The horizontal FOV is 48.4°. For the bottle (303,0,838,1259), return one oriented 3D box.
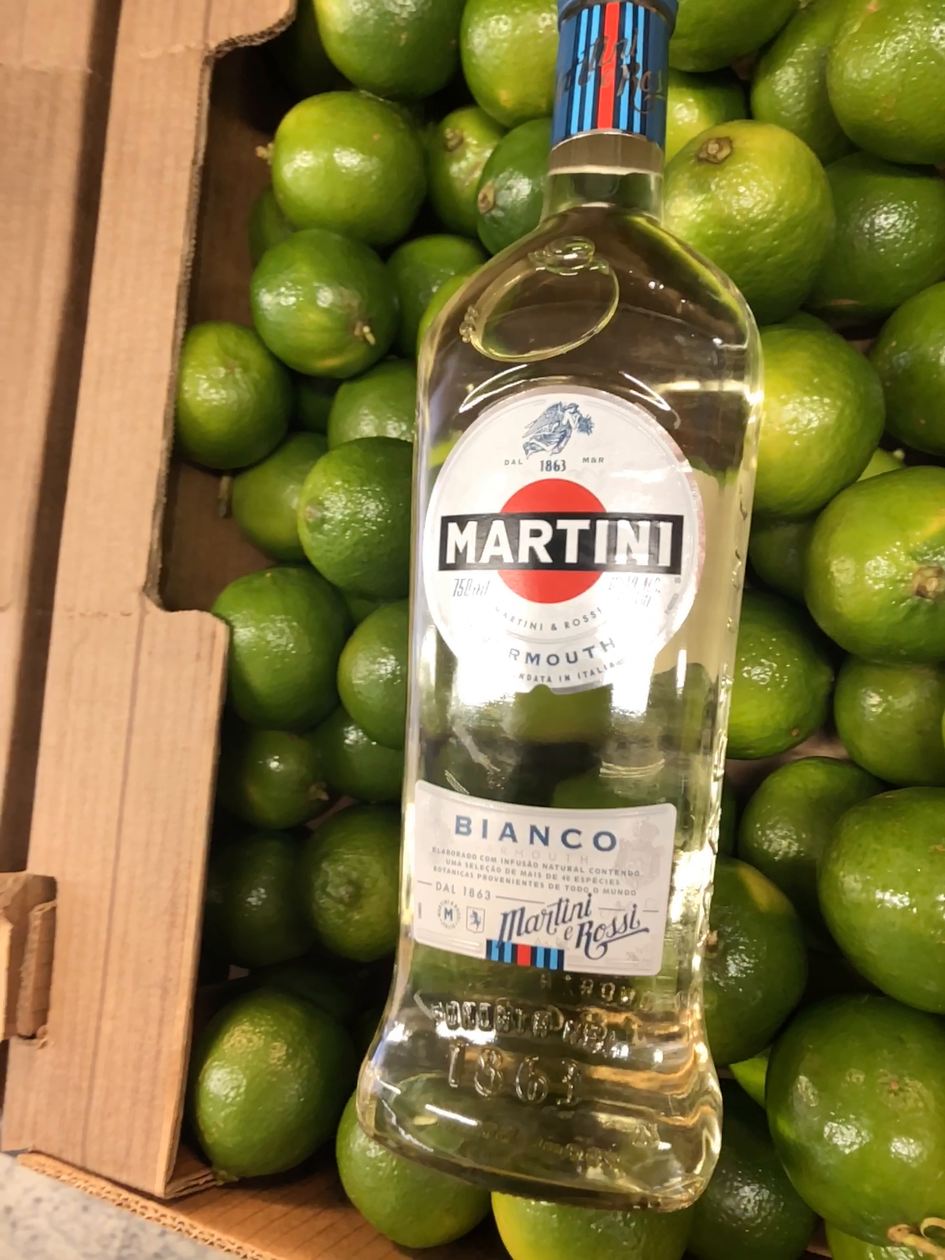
[{"bbox_3d":[0.030,-0.029,0.263,0.100,0.050,0.320,2,83,22],"label":"bottle"}]
